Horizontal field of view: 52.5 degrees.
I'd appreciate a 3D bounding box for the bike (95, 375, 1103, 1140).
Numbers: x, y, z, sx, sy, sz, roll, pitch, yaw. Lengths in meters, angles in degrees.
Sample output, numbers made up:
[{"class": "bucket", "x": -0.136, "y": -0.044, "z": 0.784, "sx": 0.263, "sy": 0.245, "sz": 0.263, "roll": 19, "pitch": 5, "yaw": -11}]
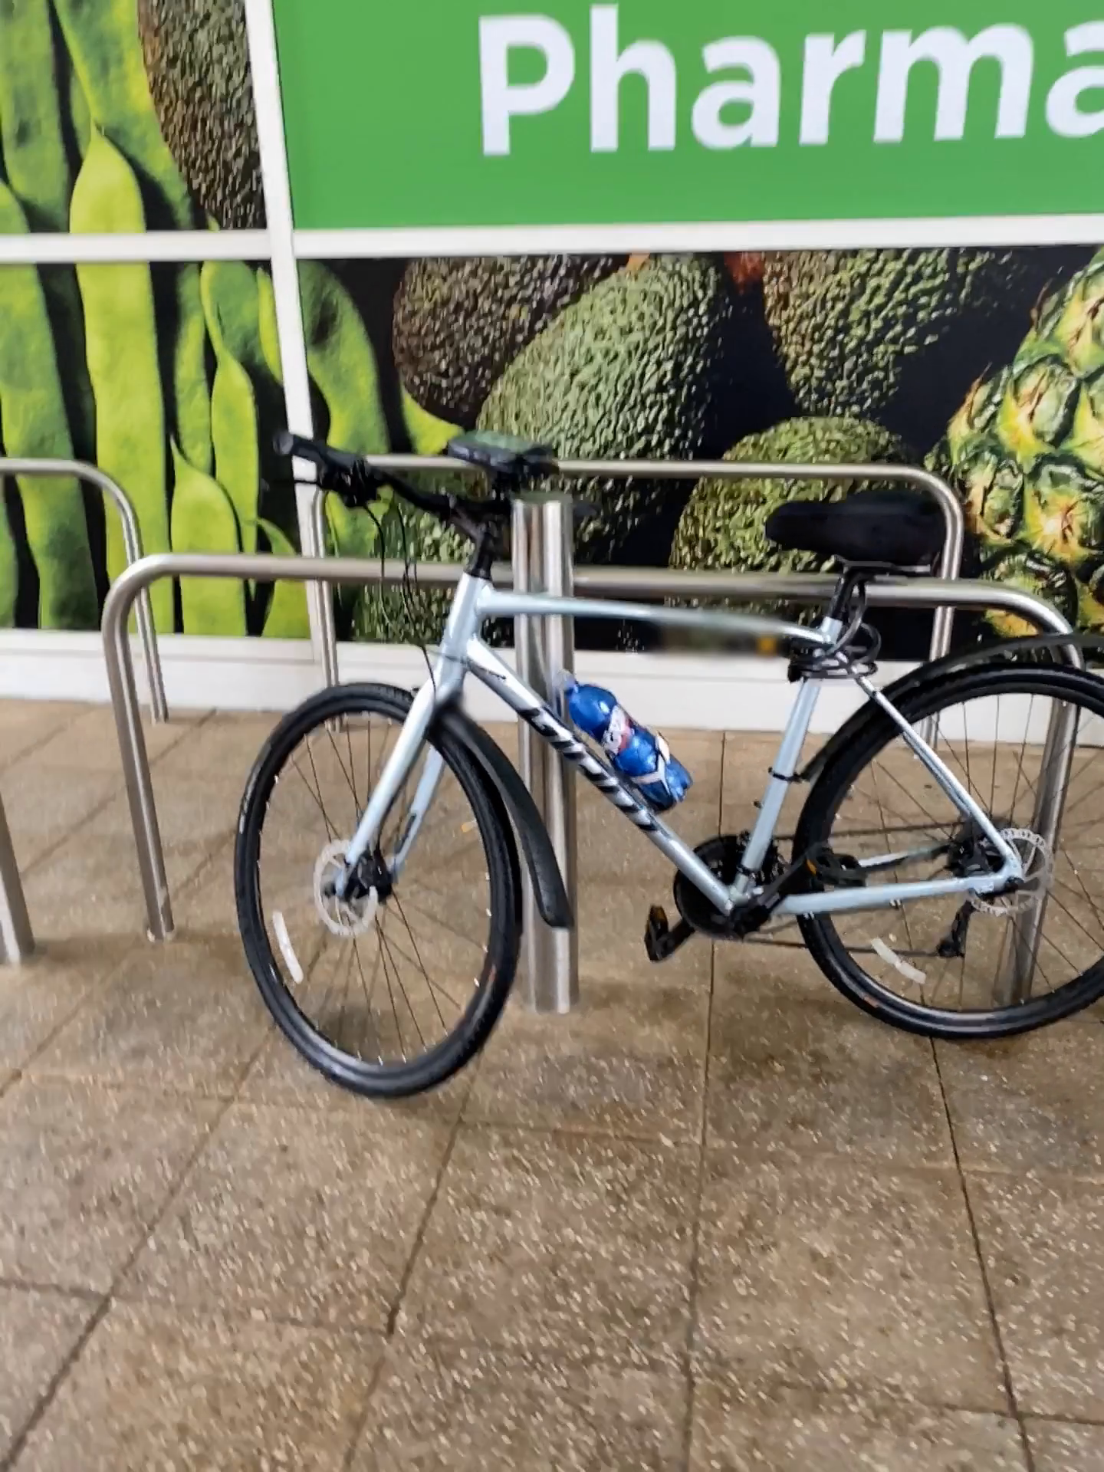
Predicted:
[{"class": "bike", "x": 0.224, "y": -0.012, "z": 1.689, "sx": 1.461, "sy": 0.963, "sz": 0.609, "roll": 0, "pitch": 22, "yaw": 2}]
